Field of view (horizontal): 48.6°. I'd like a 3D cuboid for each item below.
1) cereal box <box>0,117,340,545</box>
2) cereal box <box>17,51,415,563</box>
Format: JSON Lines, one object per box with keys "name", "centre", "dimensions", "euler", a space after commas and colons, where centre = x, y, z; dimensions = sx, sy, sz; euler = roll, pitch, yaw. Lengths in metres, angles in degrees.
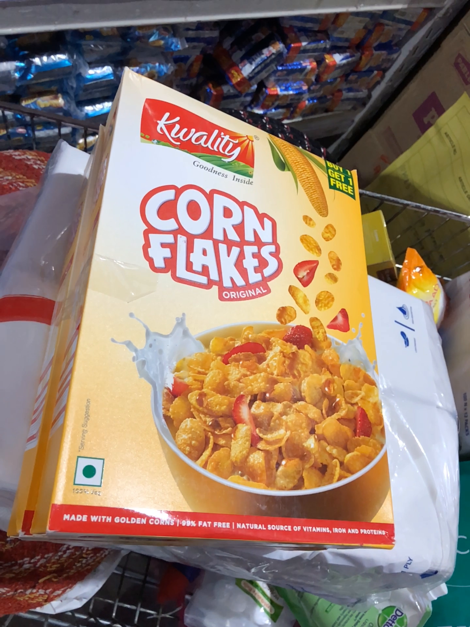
{"name": "cereal box", "centre": [-0.033, 0.019, 0.372], "dimensions": [0.200, 0.070, 0.261], "euler": [13, 64, -25]}
{"name": "cereal box", "centre": [0.001, 0.001, 0.308], "dimensions": [0.190, 0.060, 0.261], "euler": [13, 64, -25]}
